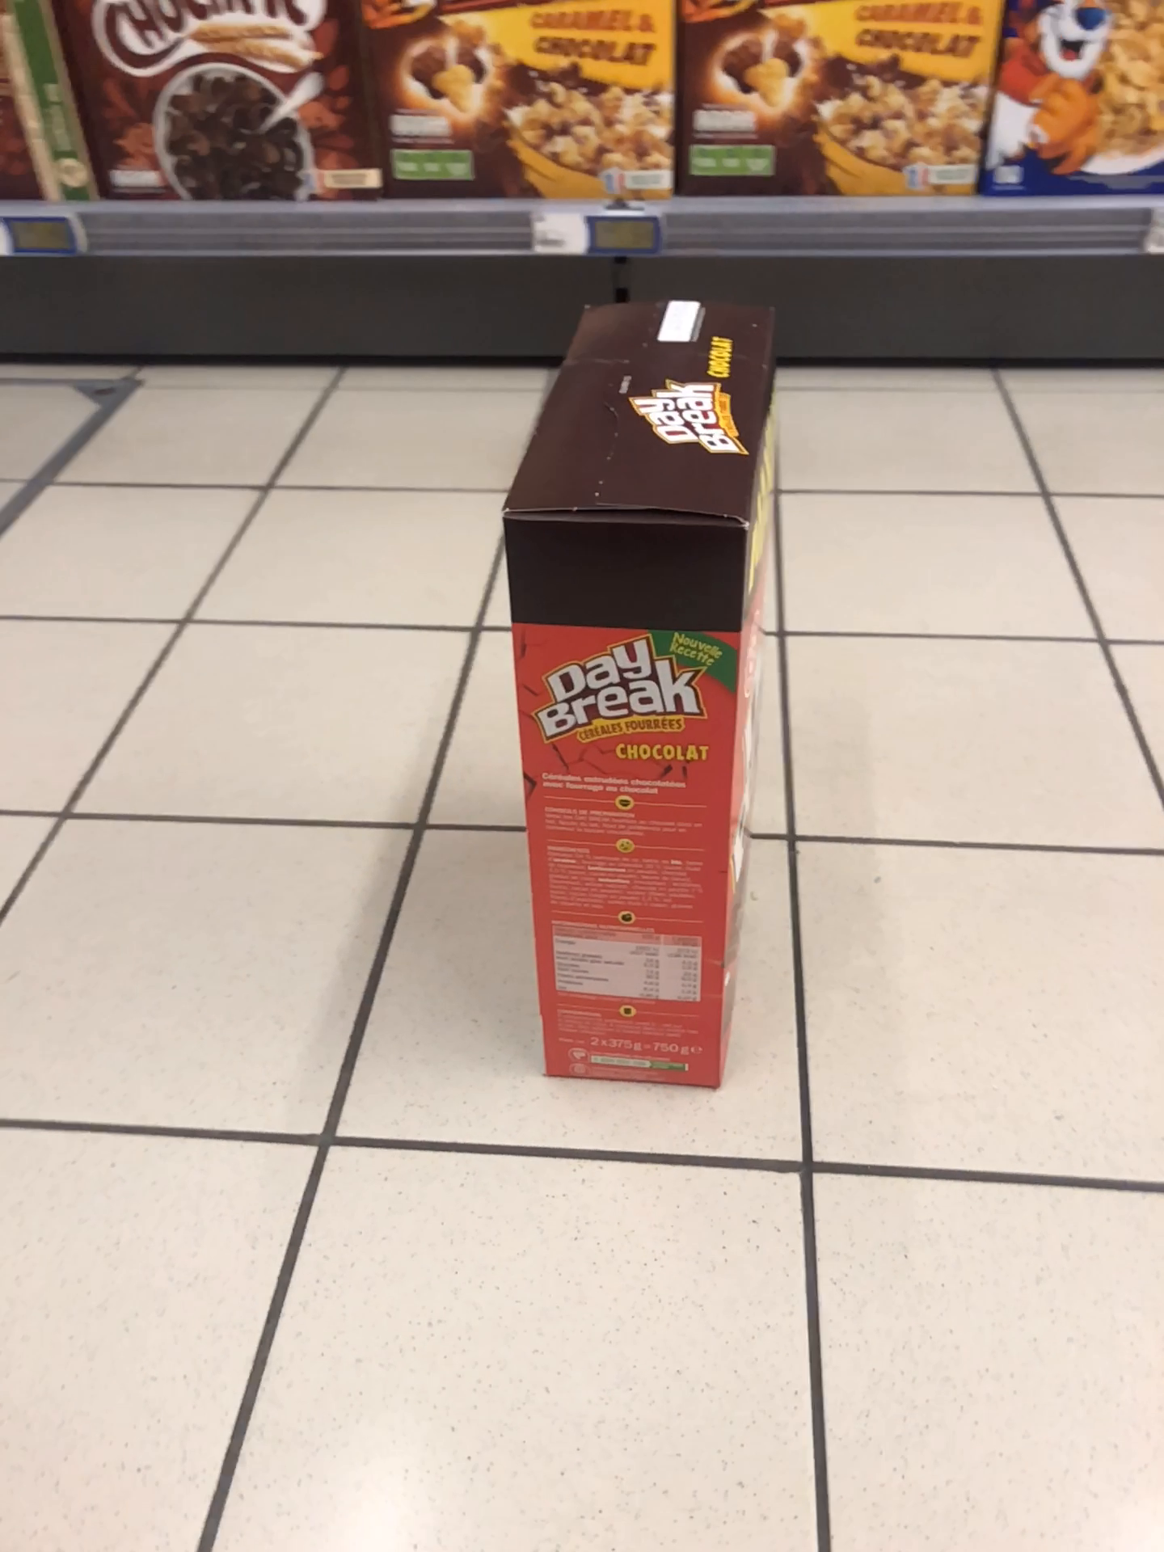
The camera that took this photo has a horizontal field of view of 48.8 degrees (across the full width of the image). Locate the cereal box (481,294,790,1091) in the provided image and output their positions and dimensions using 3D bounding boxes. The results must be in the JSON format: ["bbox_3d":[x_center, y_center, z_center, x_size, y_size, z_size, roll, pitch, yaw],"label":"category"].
[{"bbox_3d":[0.033,-0.036,0.562,0.090,0.278,0.201,4,39,8],"label":"cereal box"}]
